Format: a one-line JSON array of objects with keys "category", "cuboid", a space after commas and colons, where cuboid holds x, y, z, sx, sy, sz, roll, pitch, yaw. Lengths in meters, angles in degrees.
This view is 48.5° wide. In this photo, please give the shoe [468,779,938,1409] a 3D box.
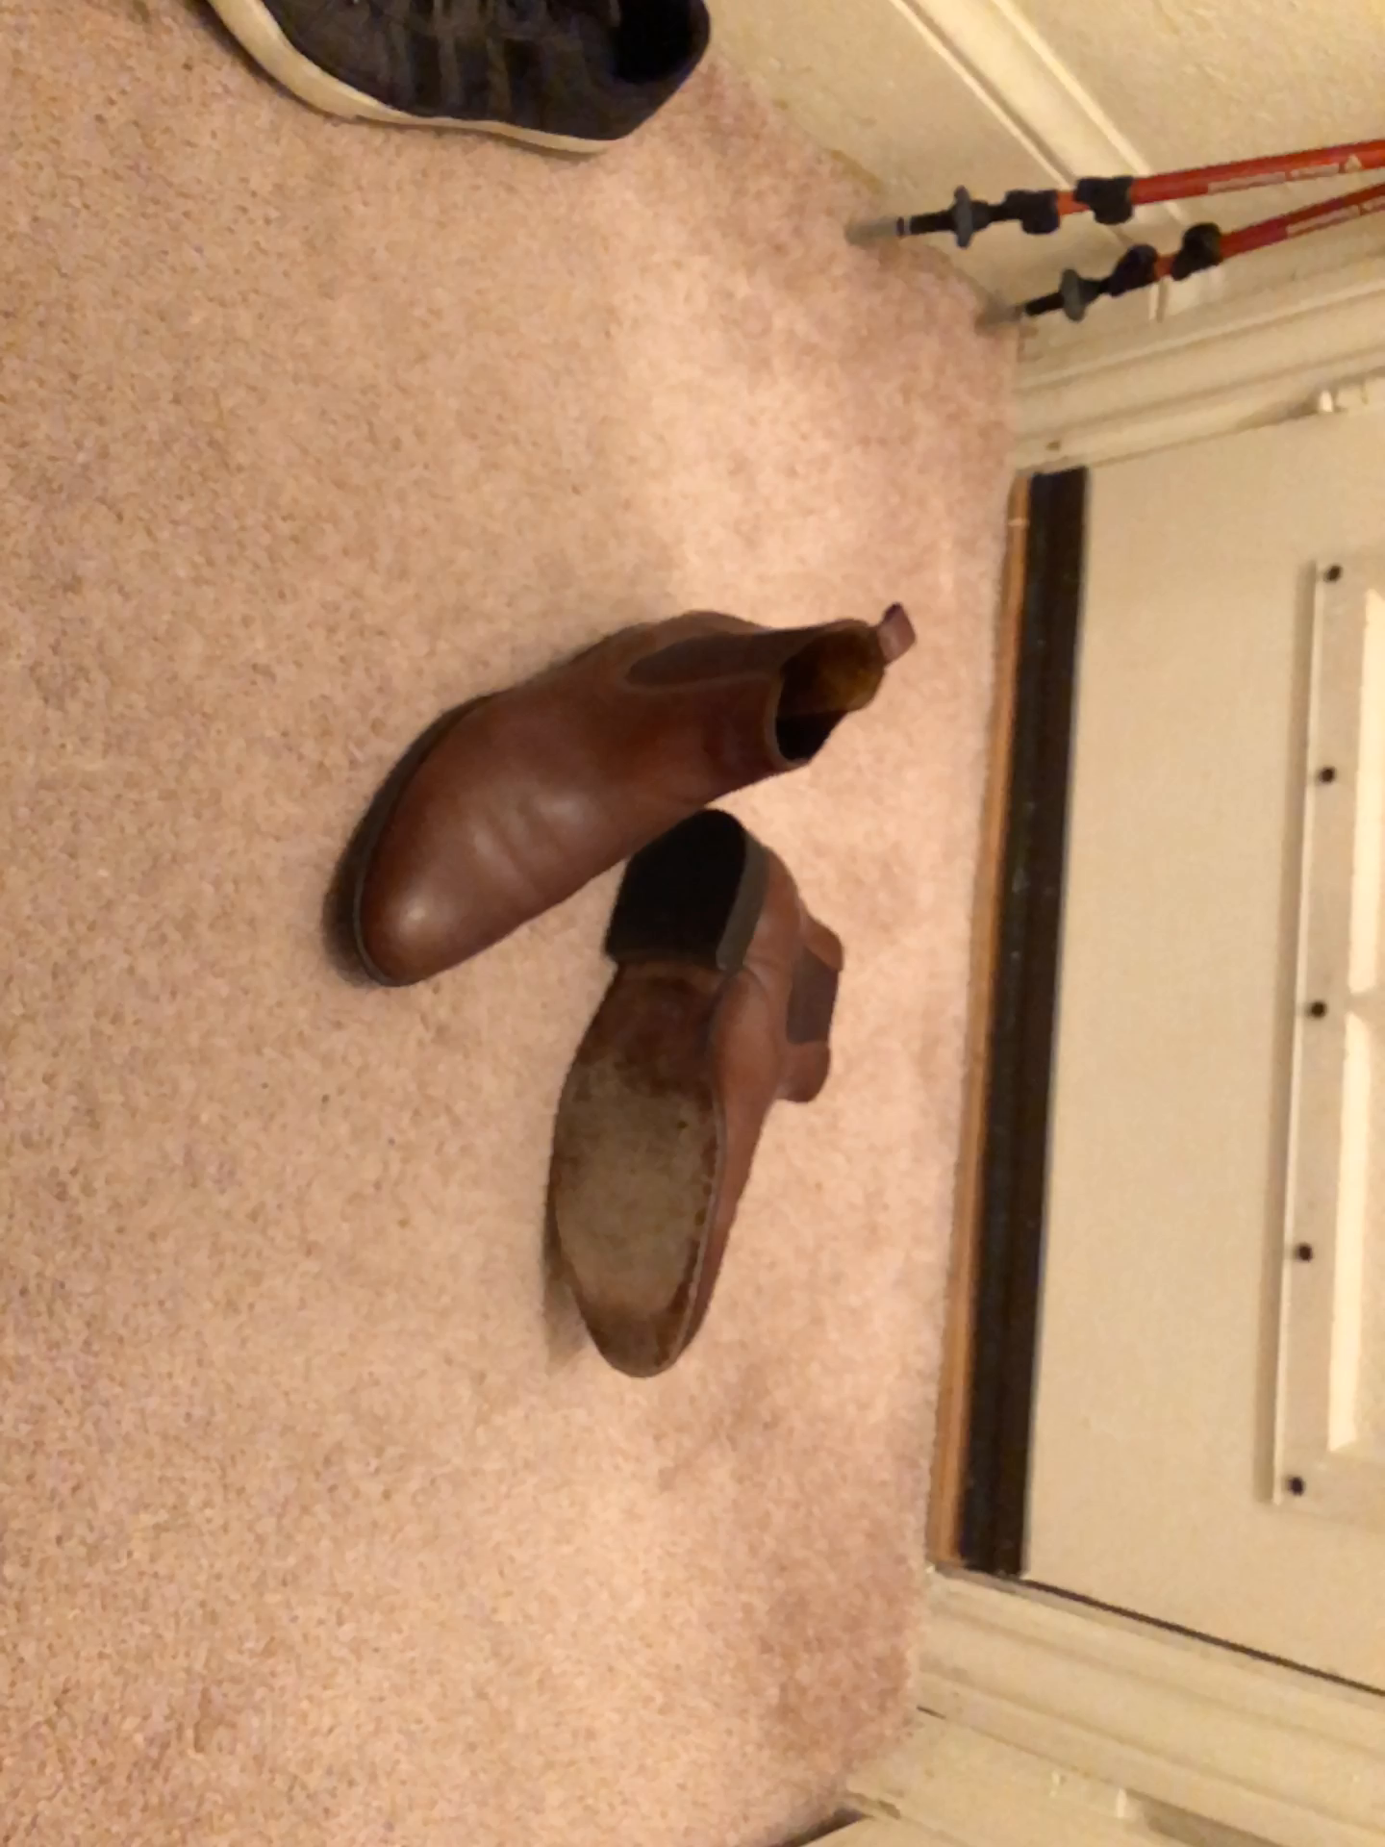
[{"category": "shoe", "cuboid": [0.014, 0.093, 0.834, 0.170, 0.118, 0.296, 25, 72, -46]}]

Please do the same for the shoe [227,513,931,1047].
[{"category": "shoe", "cuboid": [-0.040, -0.075, 0.731, 0.297, 0.158, 0.109, -43, 119, -39]}]
